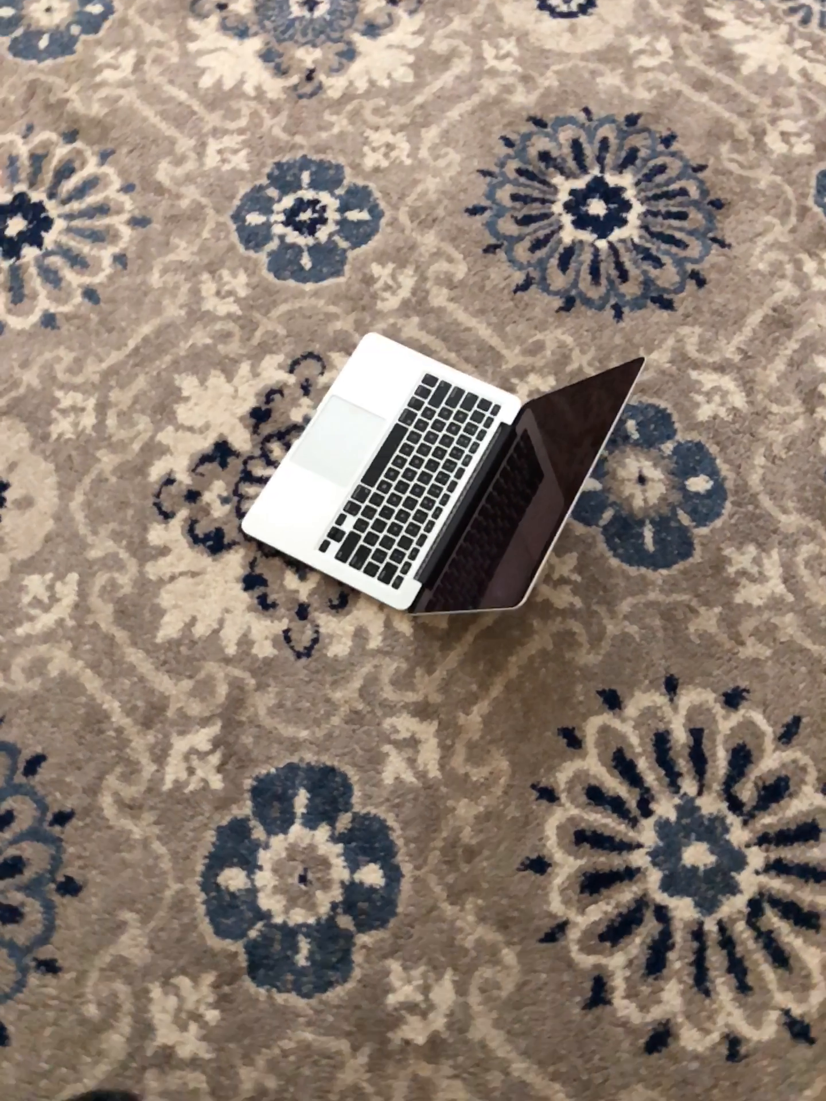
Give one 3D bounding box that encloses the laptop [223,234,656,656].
[{"bbox_3d":[0.031,-0.112,0.977,0.322,0.171,0.300,26,70,8],"label":"laptop"}]
